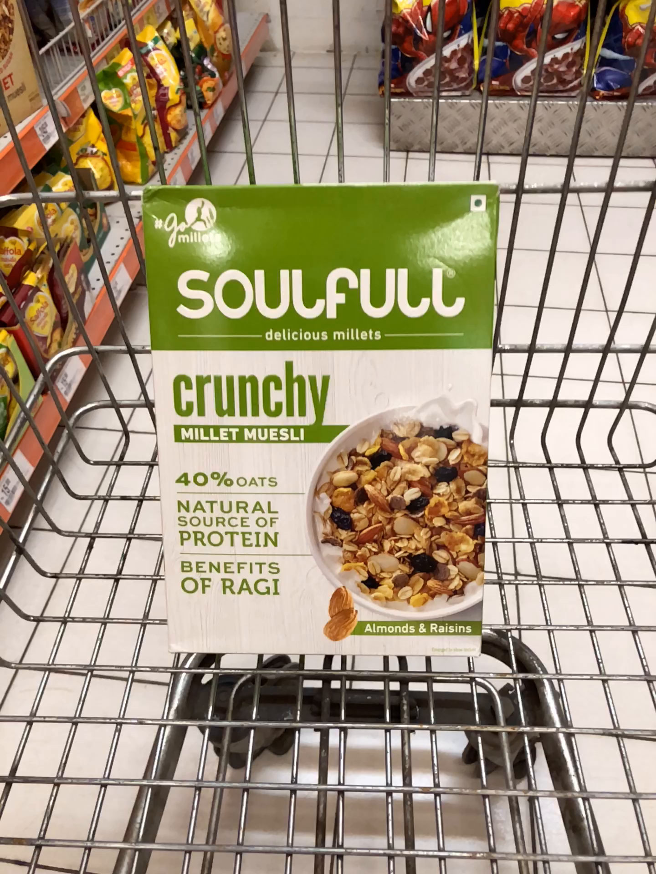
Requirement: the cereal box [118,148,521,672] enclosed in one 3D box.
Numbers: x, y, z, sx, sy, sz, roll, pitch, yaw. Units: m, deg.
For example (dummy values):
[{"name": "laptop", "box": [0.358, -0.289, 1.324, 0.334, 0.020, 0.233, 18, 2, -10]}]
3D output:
[{"name": "cereal box", "box": [-0.003, -0.011, 0.364, 0.170, 0.239, 0.070, 0, 12, 2]}]
